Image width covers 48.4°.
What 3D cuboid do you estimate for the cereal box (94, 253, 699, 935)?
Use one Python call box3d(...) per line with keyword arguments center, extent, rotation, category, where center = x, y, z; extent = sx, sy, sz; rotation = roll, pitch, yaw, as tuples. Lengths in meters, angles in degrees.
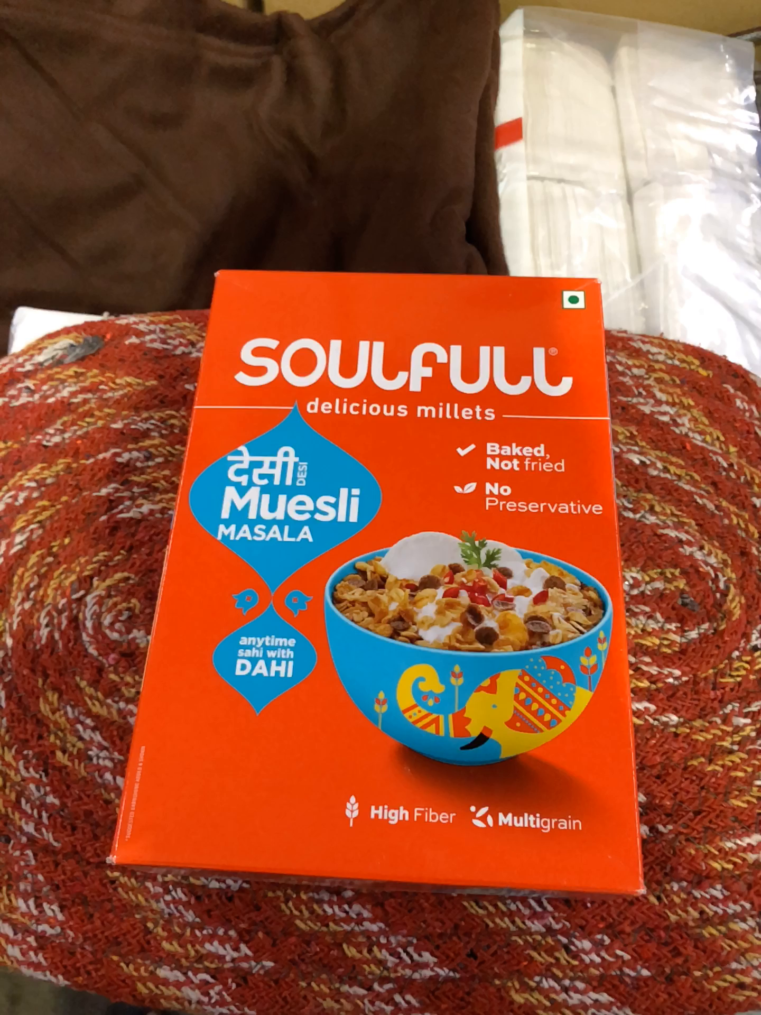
box3d(center=(0.010, 0.019, 0.337), extent=(0.180, 0.060, 0.261), rotation=(1, 63, 4), category="cereal box")
